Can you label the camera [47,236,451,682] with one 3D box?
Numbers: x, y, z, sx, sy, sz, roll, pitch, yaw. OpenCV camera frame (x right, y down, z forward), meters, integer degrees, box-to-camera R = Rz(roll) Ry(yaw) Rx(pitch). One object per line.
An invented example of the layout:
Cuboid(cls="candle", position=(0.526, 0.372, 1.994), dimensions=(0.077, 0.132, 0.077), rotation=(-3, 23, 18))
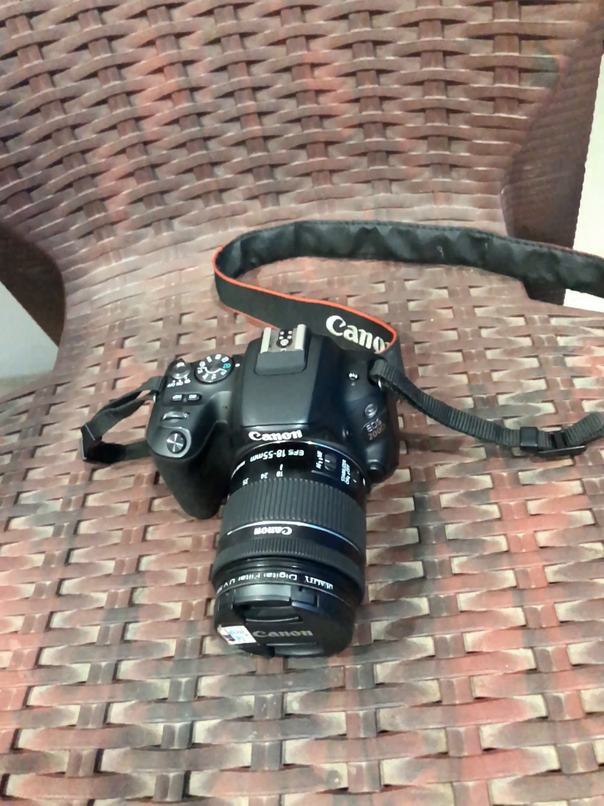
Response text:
Cuboid(cls="camera", position=(-0.008, 0.030, 0.317), dimensions=(0.140, 0.109, 0.171), rotation=(-4, 58, 11))
